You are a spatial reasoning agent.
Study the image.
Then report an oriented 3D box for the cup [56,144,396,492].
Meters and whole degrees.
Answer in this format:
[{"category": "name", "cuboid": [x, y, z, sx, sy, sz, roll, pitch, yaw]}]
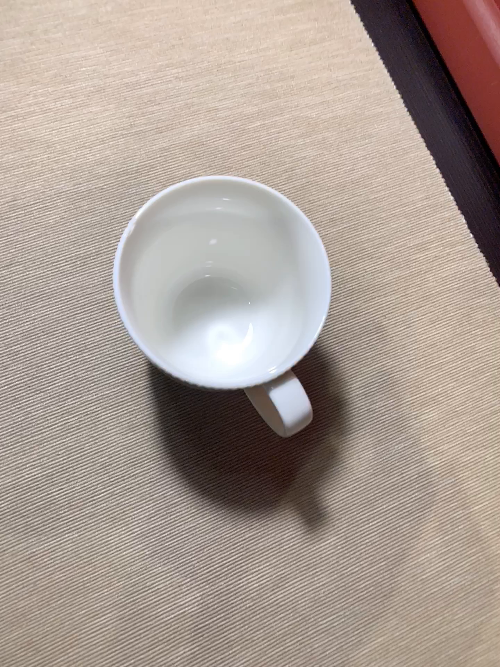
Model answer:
[{"category": "cup", "cuboid": [-0.012, -0.005, 0.227, 0.090, 0.060, 0.110, -27, 82, -13]}]
